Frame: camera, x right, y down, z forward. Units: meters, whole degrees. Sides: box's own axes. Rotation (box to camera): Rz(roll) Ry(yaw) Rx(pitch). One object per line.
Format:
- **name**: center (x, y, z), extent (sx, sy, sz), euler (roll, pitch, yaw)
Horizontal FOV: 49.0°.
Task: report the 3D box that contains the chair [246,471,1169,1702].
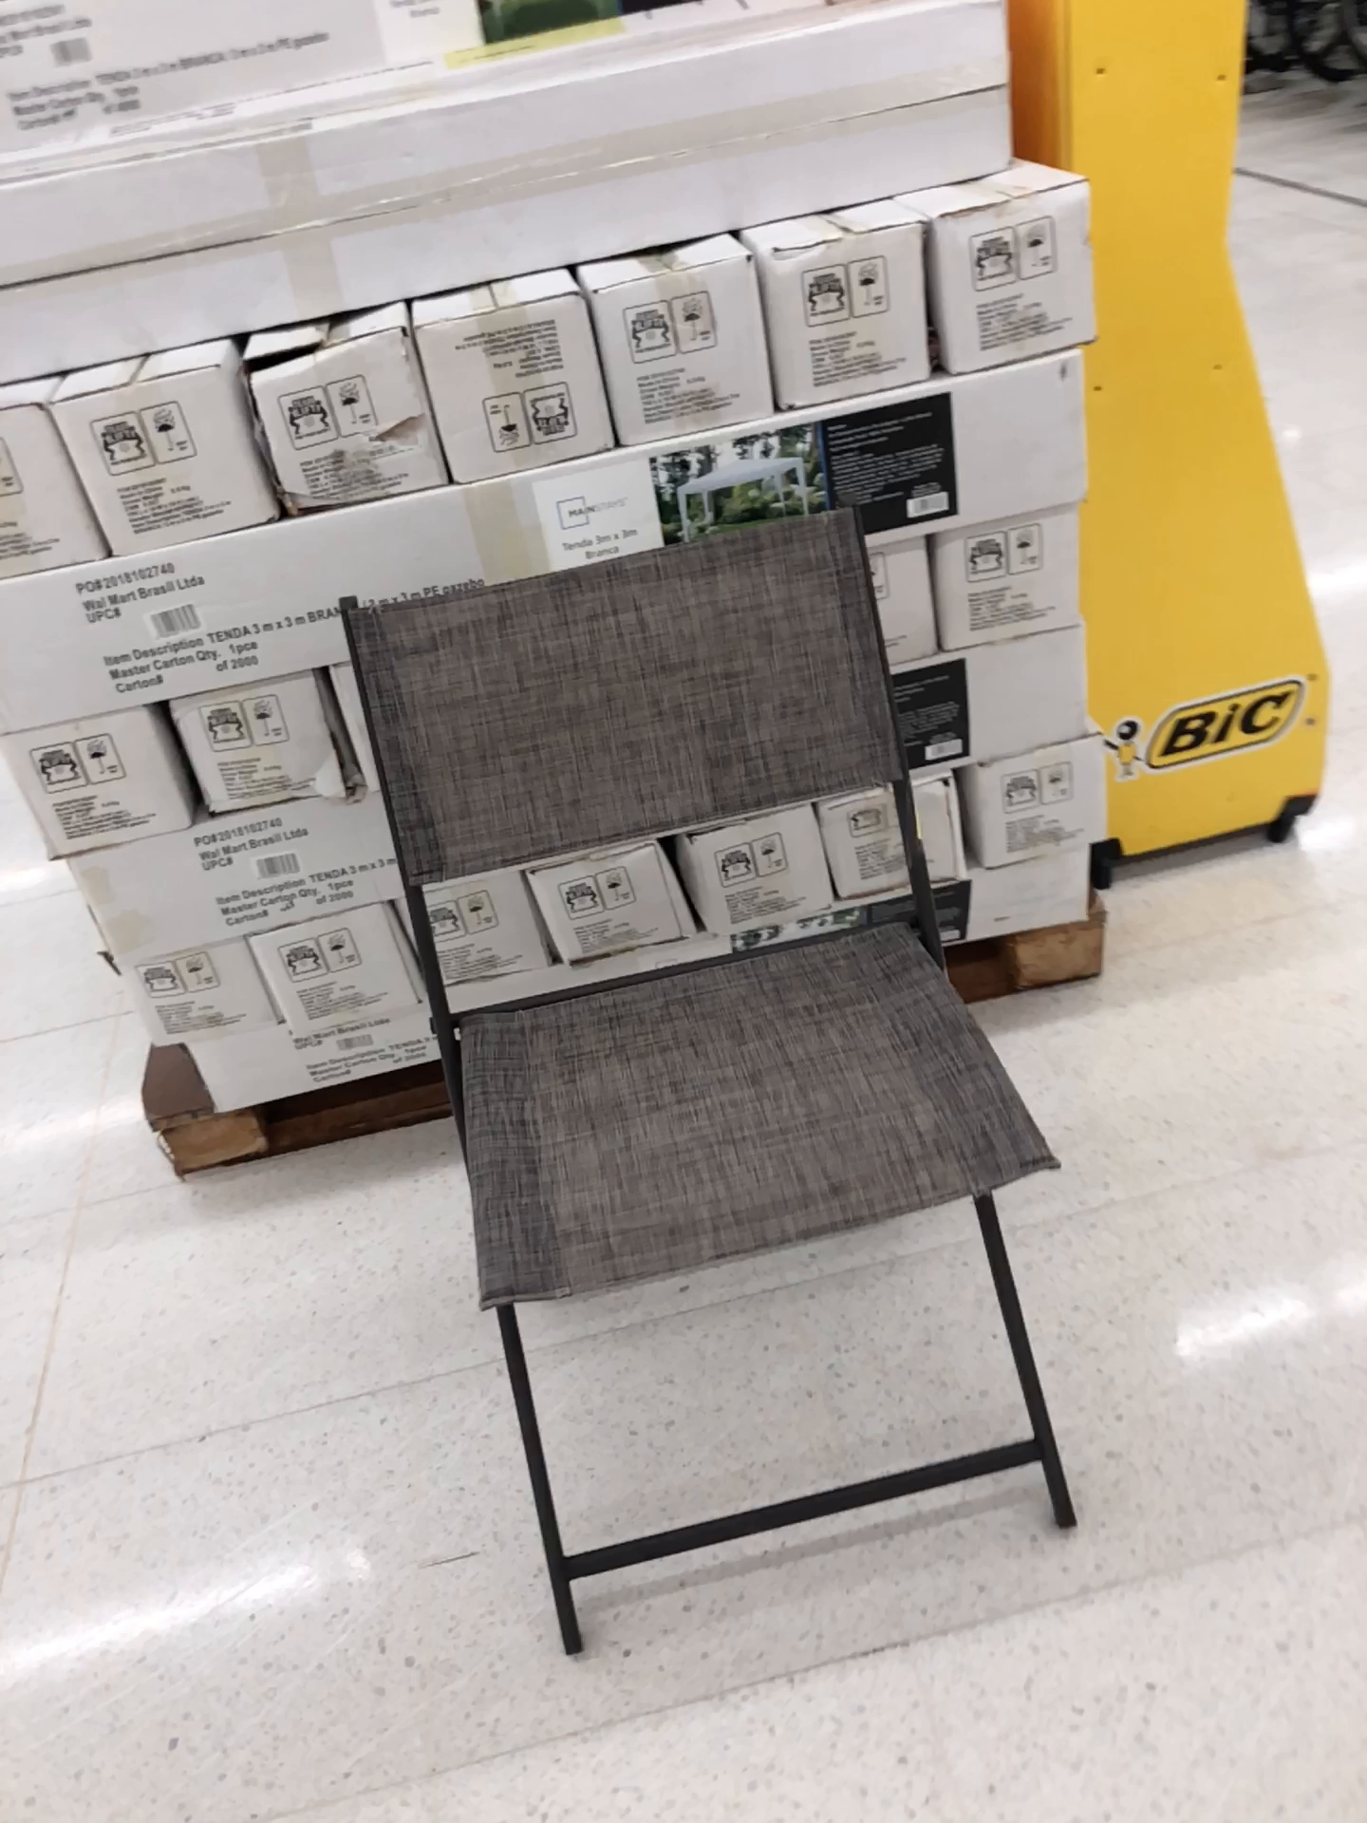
- **chair**: center (0.031, 0.136, 1.222), extent (0.510, 0.754, 0.504), euler (-13, 34, -4)
